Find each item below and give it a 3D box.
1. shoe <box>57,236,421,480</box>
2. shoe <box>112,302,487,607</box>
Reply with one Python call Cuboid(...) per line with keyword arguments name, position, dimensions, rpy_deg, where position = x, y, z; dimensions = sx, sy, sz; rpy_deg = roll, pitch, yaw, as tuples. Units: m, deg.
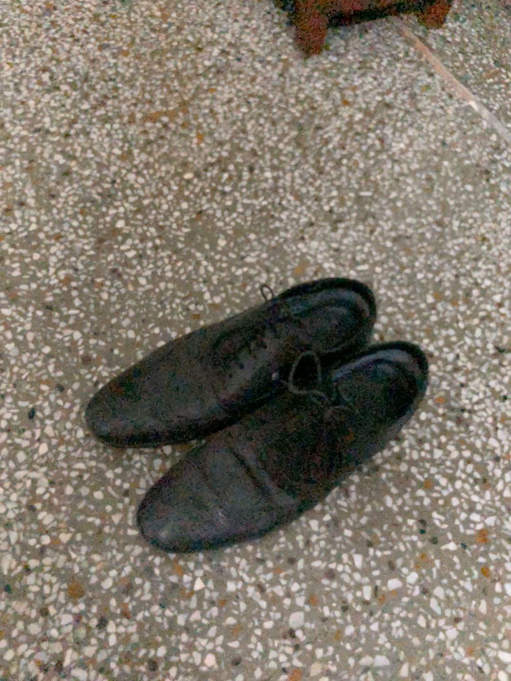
Cuboid(name="shoe", position=(-0.011, 0.012, 0.524), dimensions=(0.319, 0.100, 0.100), rpy_deg=(-21, 67, -18))
Cuboid(name="shoe", position=(0.044, 0.096, 0.486), dimensions=(0.319, 0.100, 0.100), rpy_deg=(-29, 69, -20))
